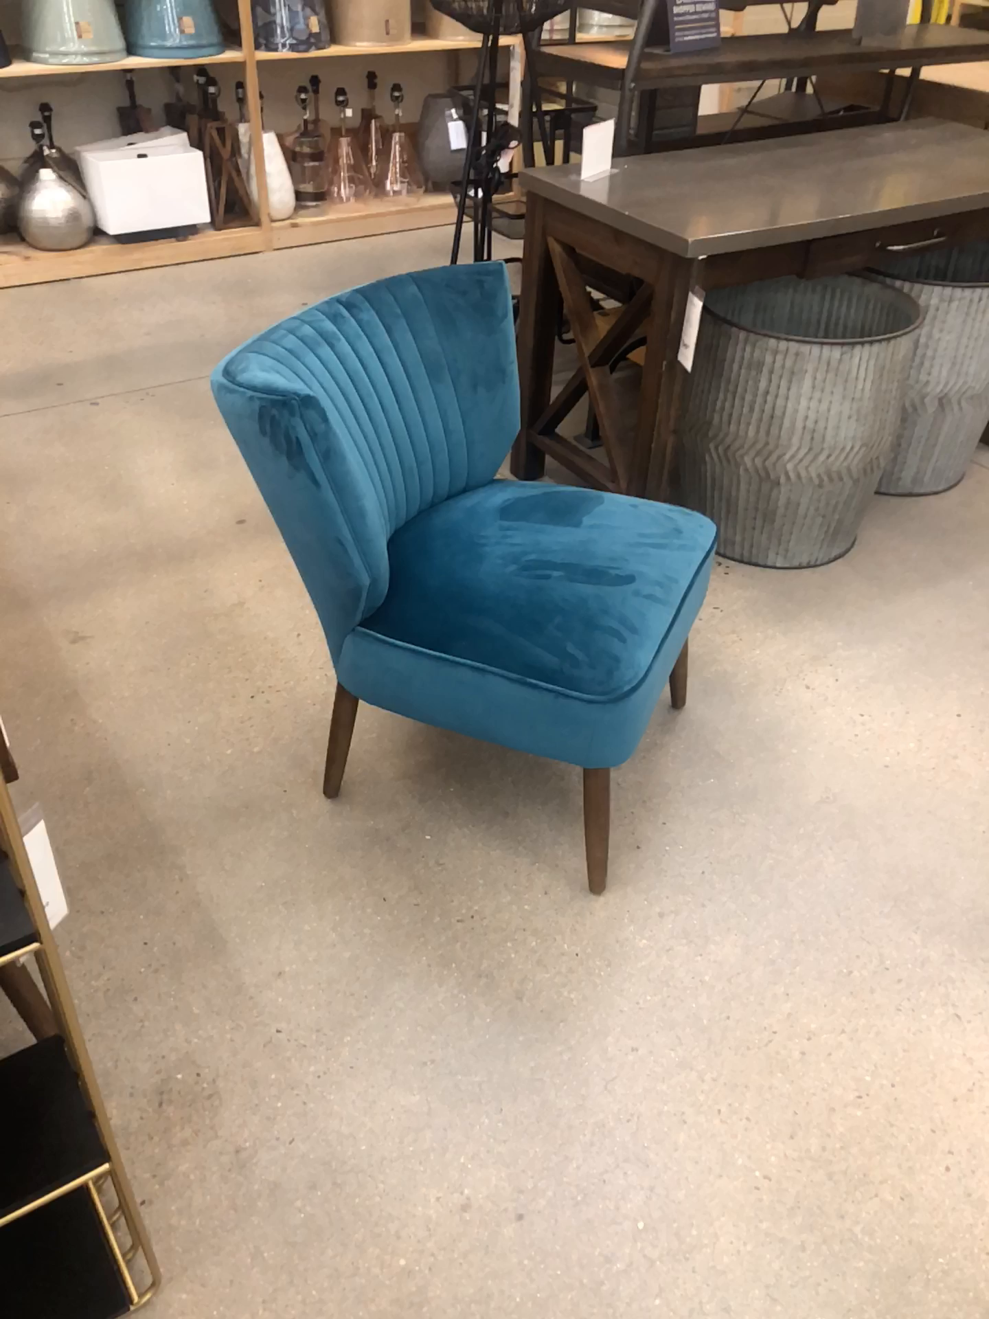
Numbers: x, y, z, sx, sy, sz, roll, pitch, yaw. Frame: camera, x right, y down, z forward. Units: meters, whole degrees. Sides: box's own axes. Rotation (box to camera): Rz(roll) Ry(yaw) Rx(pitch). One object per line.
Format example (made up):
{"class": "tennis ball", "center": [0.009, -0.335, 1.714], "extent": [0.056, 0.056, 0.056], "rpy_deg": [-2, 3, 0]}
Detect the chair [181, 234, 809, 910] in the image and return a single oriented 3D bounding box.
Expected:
{"class": "chair", "center": [0.038, -0.179, 1.668], "extent": [0.660, 0.676, 0.663], "rpy_deg": [14, 38, 16]}
